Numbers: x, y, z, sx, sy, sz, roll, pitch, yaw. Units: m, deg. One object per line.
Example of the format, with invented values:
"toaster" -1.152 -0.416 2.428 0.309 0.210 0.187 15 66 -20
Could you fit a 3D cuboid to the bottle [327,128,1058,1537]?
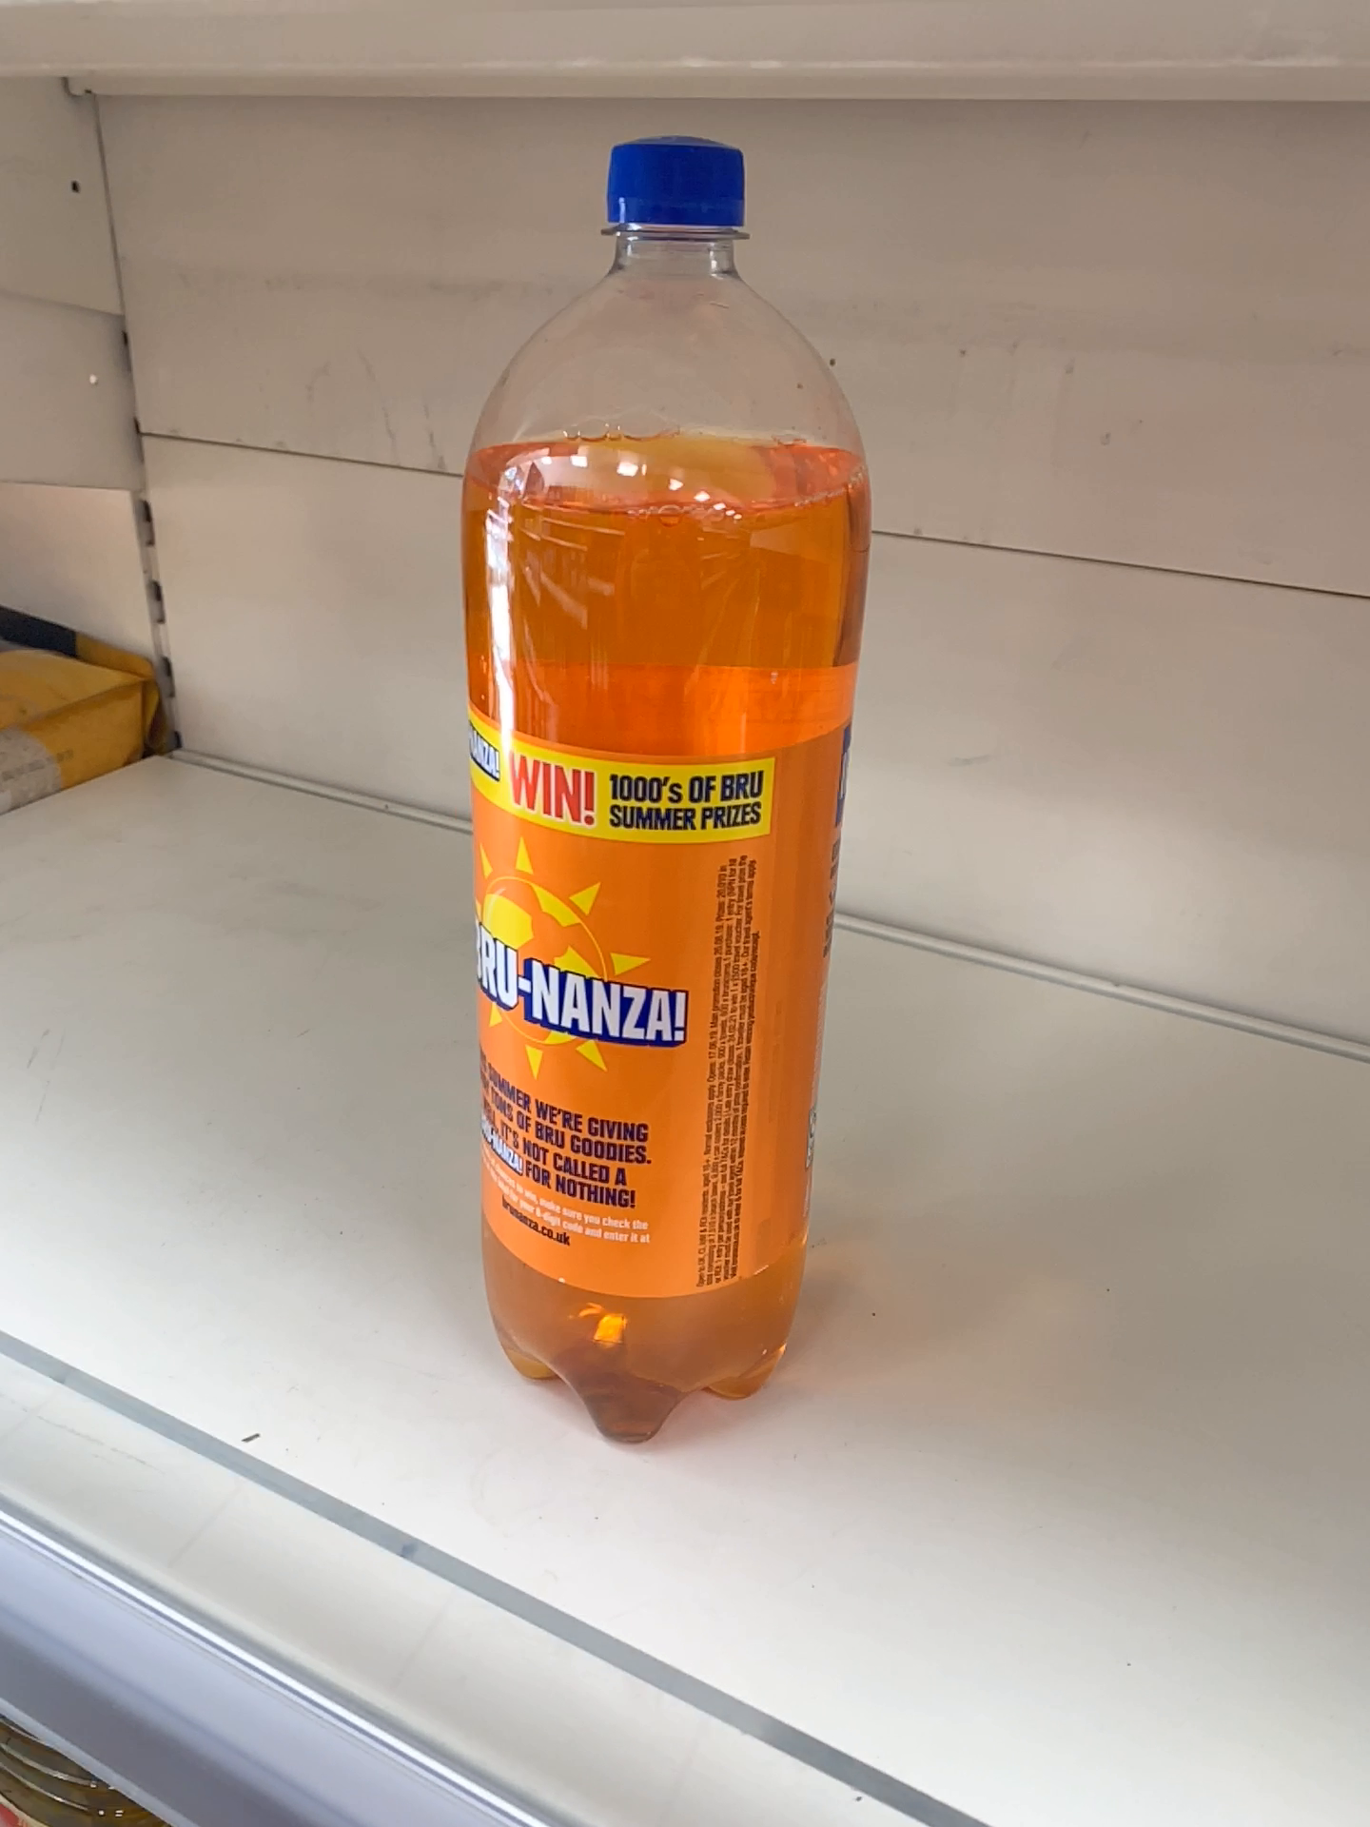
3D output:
"bottle" -0.002 -0.017 0.371 0.110 0.327 0.111 2 26 -1
